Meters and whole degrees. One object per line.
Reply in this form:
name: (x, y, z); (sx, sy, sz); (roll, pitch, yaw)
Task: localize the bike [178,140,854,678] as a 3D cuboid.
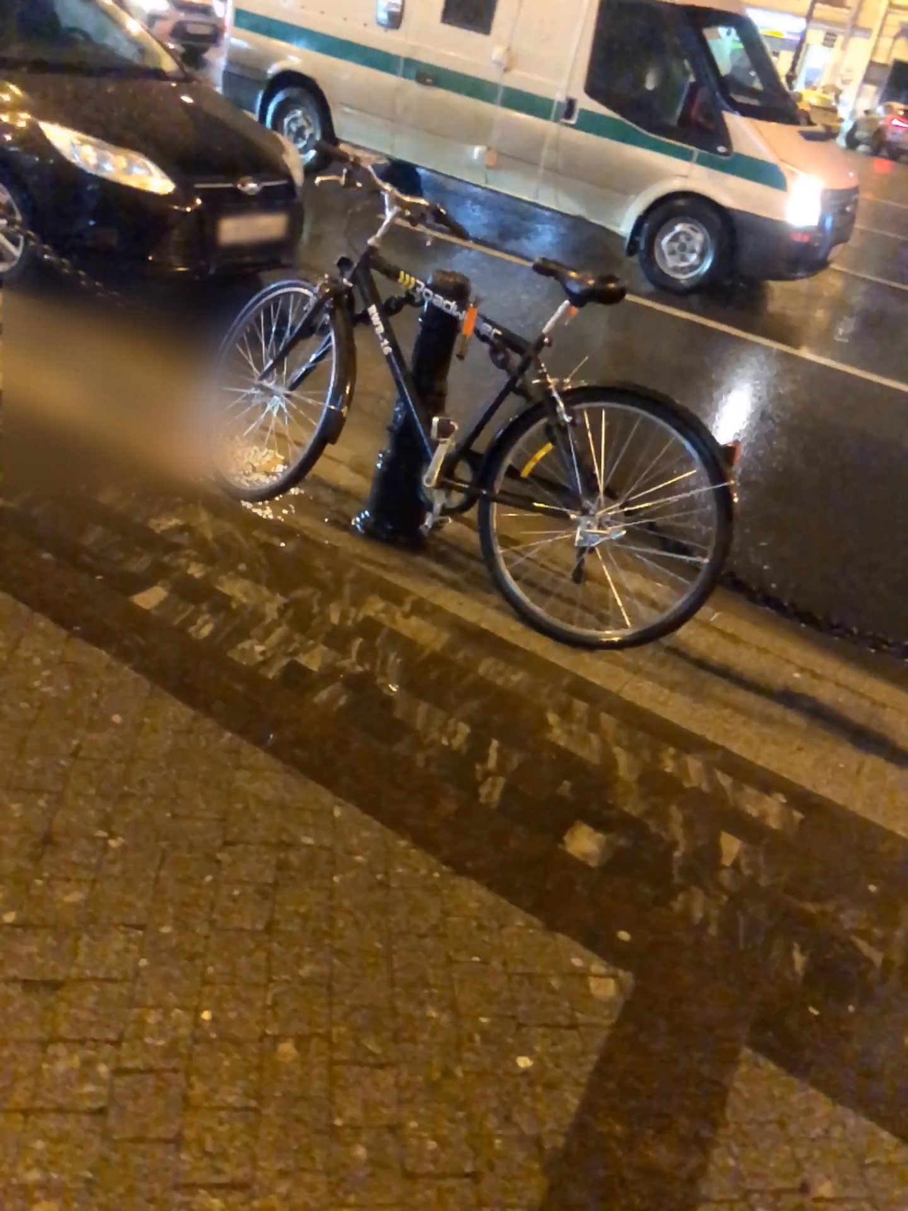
bike: (0.041, -0.655, 2.857); (1.749, 0.961, 0.555); (26, 31, 26)
